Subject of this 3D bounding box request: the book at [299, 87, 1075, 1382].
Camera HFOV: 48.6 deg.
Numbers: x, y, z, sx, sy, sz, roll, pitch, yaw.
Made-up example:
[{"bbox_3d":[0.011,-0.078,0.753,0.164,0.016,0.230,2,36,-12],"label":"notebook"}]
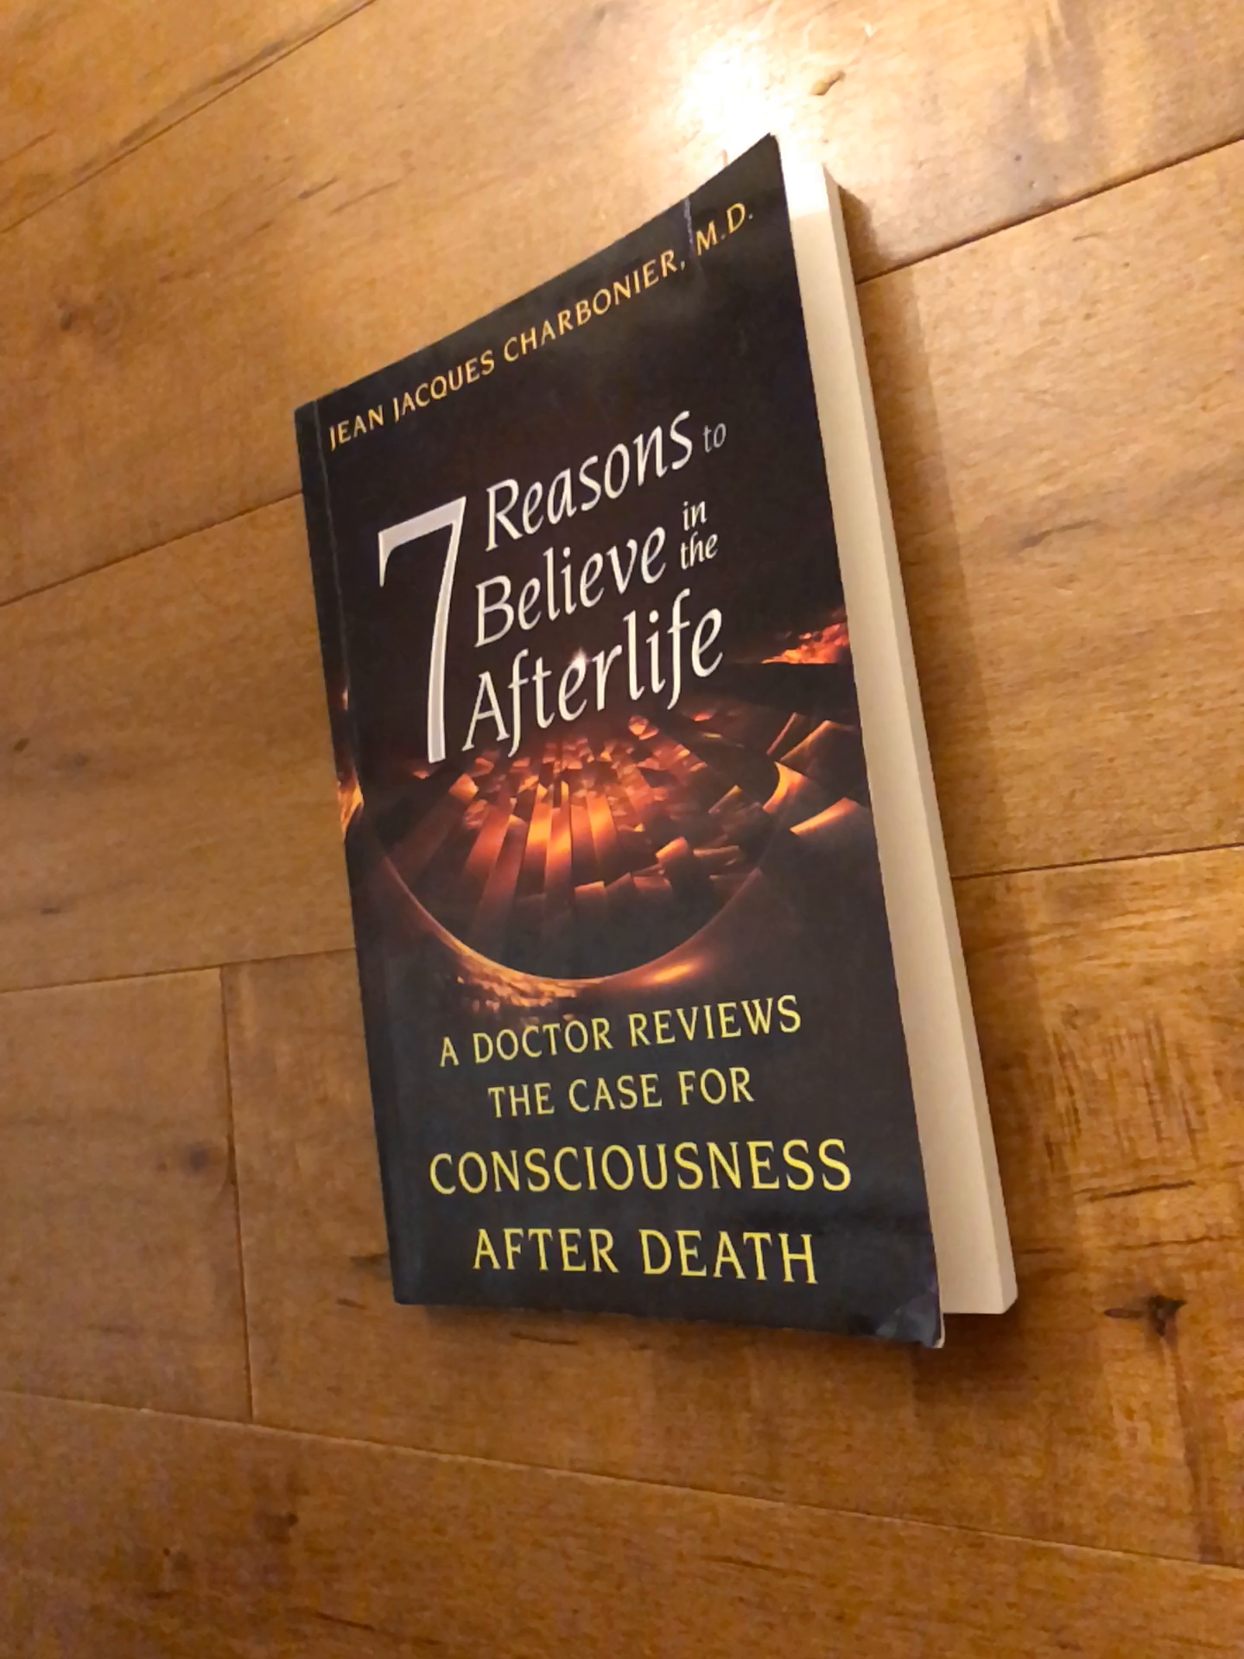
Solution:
[{"bbox_3d":[-0.001,-0.011,0.326,0.171,0.030,0.250,-13,81,40],"label":"book"}]
